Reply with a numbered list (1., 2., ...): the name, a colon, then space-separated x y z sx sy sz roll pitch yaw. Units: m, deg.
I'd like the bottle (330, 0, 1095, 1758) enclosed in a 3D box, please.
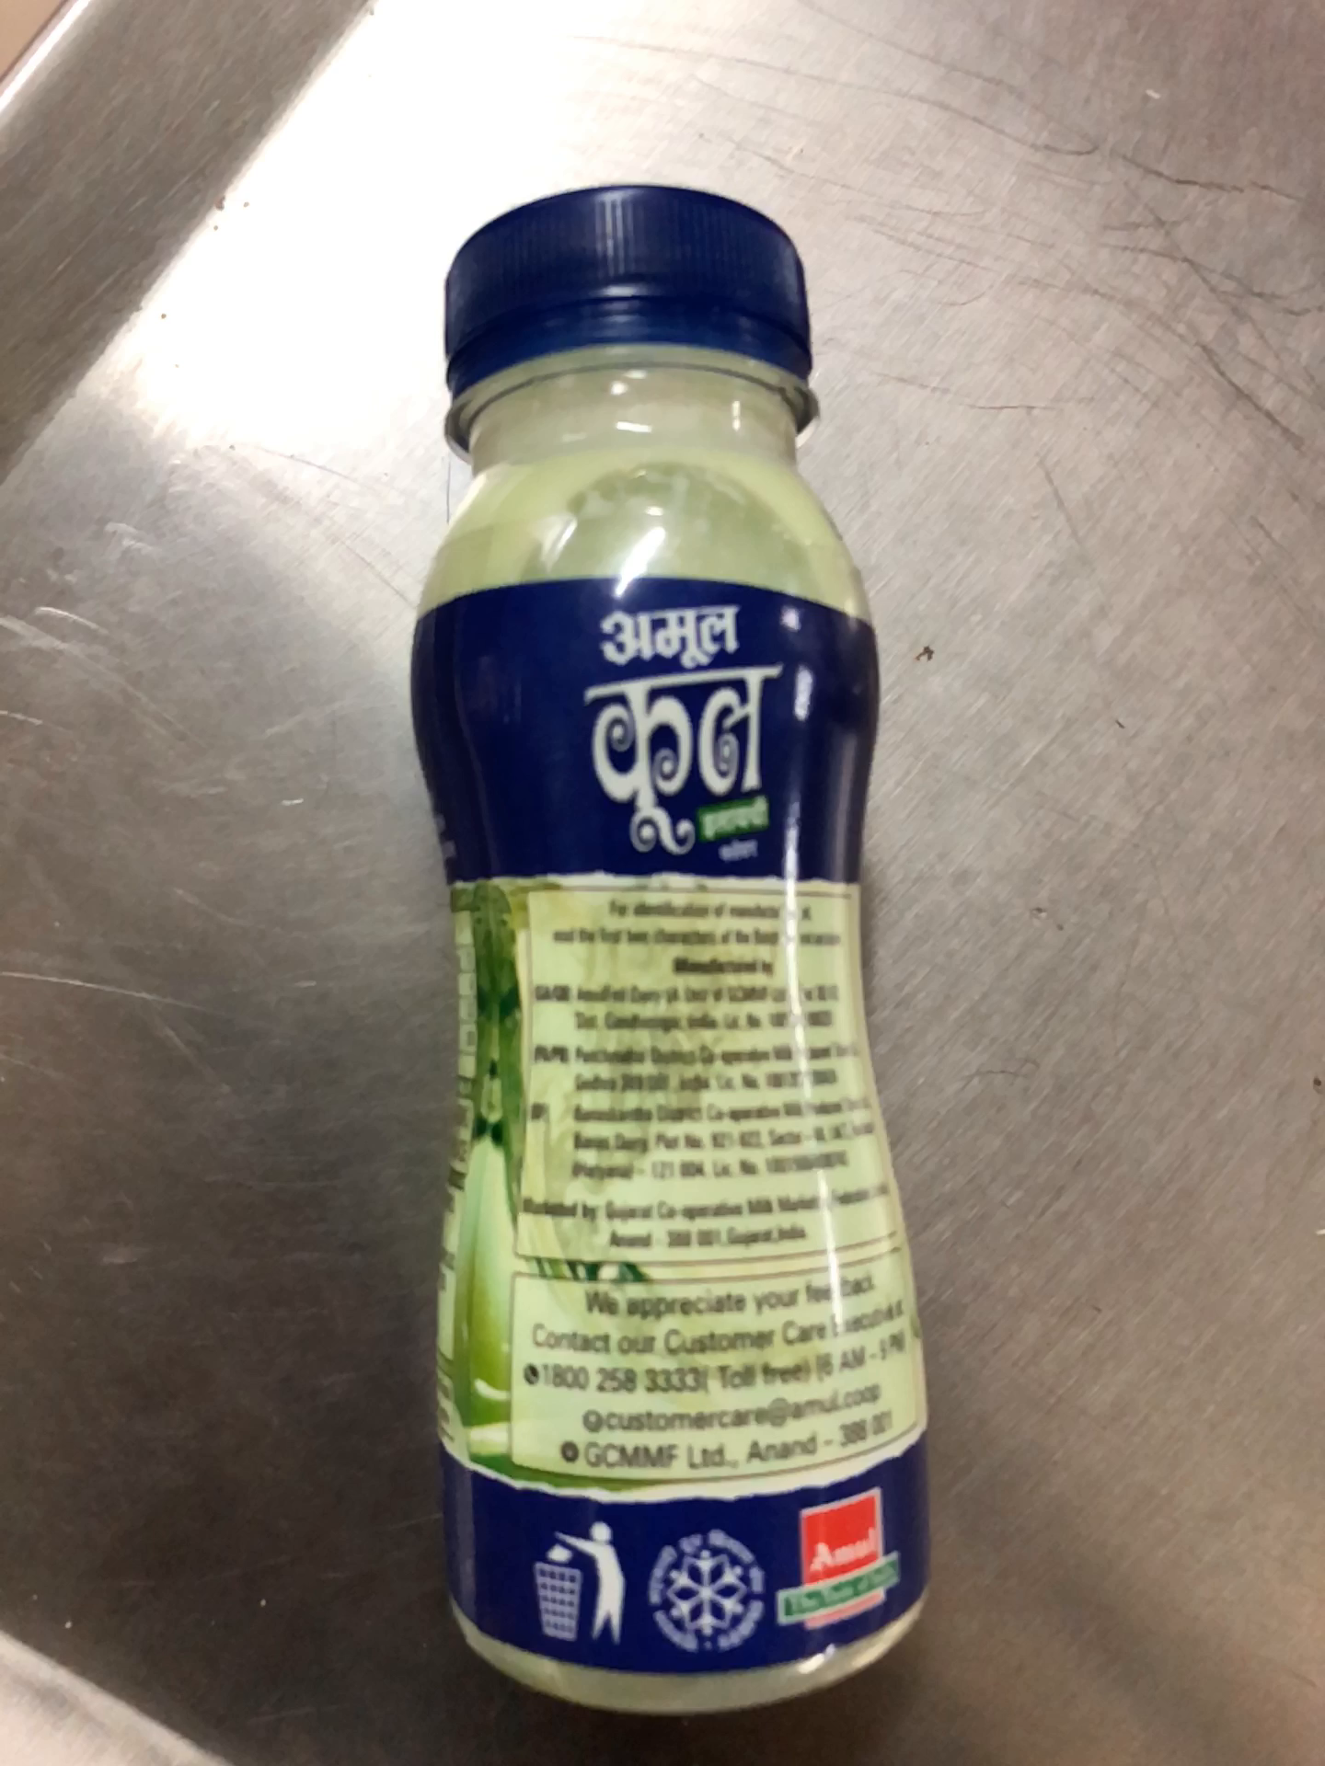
1. bottle: 0.002 -0.014 0.128 0.050 0.040 0.150 -2 87 -5
